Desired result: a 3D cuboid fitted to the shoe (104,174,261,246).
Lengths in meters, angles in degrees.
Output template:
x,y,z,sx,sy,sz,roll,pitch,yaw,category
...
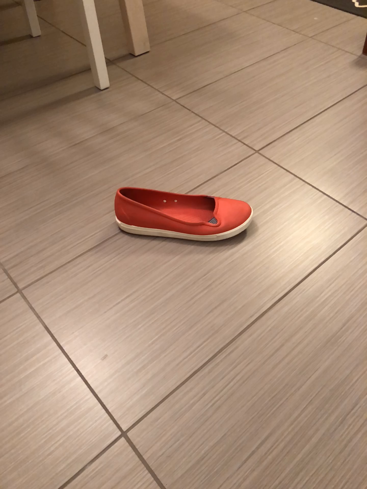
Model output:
x,y,z,sx,sy,sz,roll,pitch,yaw,category
0.001,-0.065,0.752,0.270,0.070,0.101,3,49,3,shoe
